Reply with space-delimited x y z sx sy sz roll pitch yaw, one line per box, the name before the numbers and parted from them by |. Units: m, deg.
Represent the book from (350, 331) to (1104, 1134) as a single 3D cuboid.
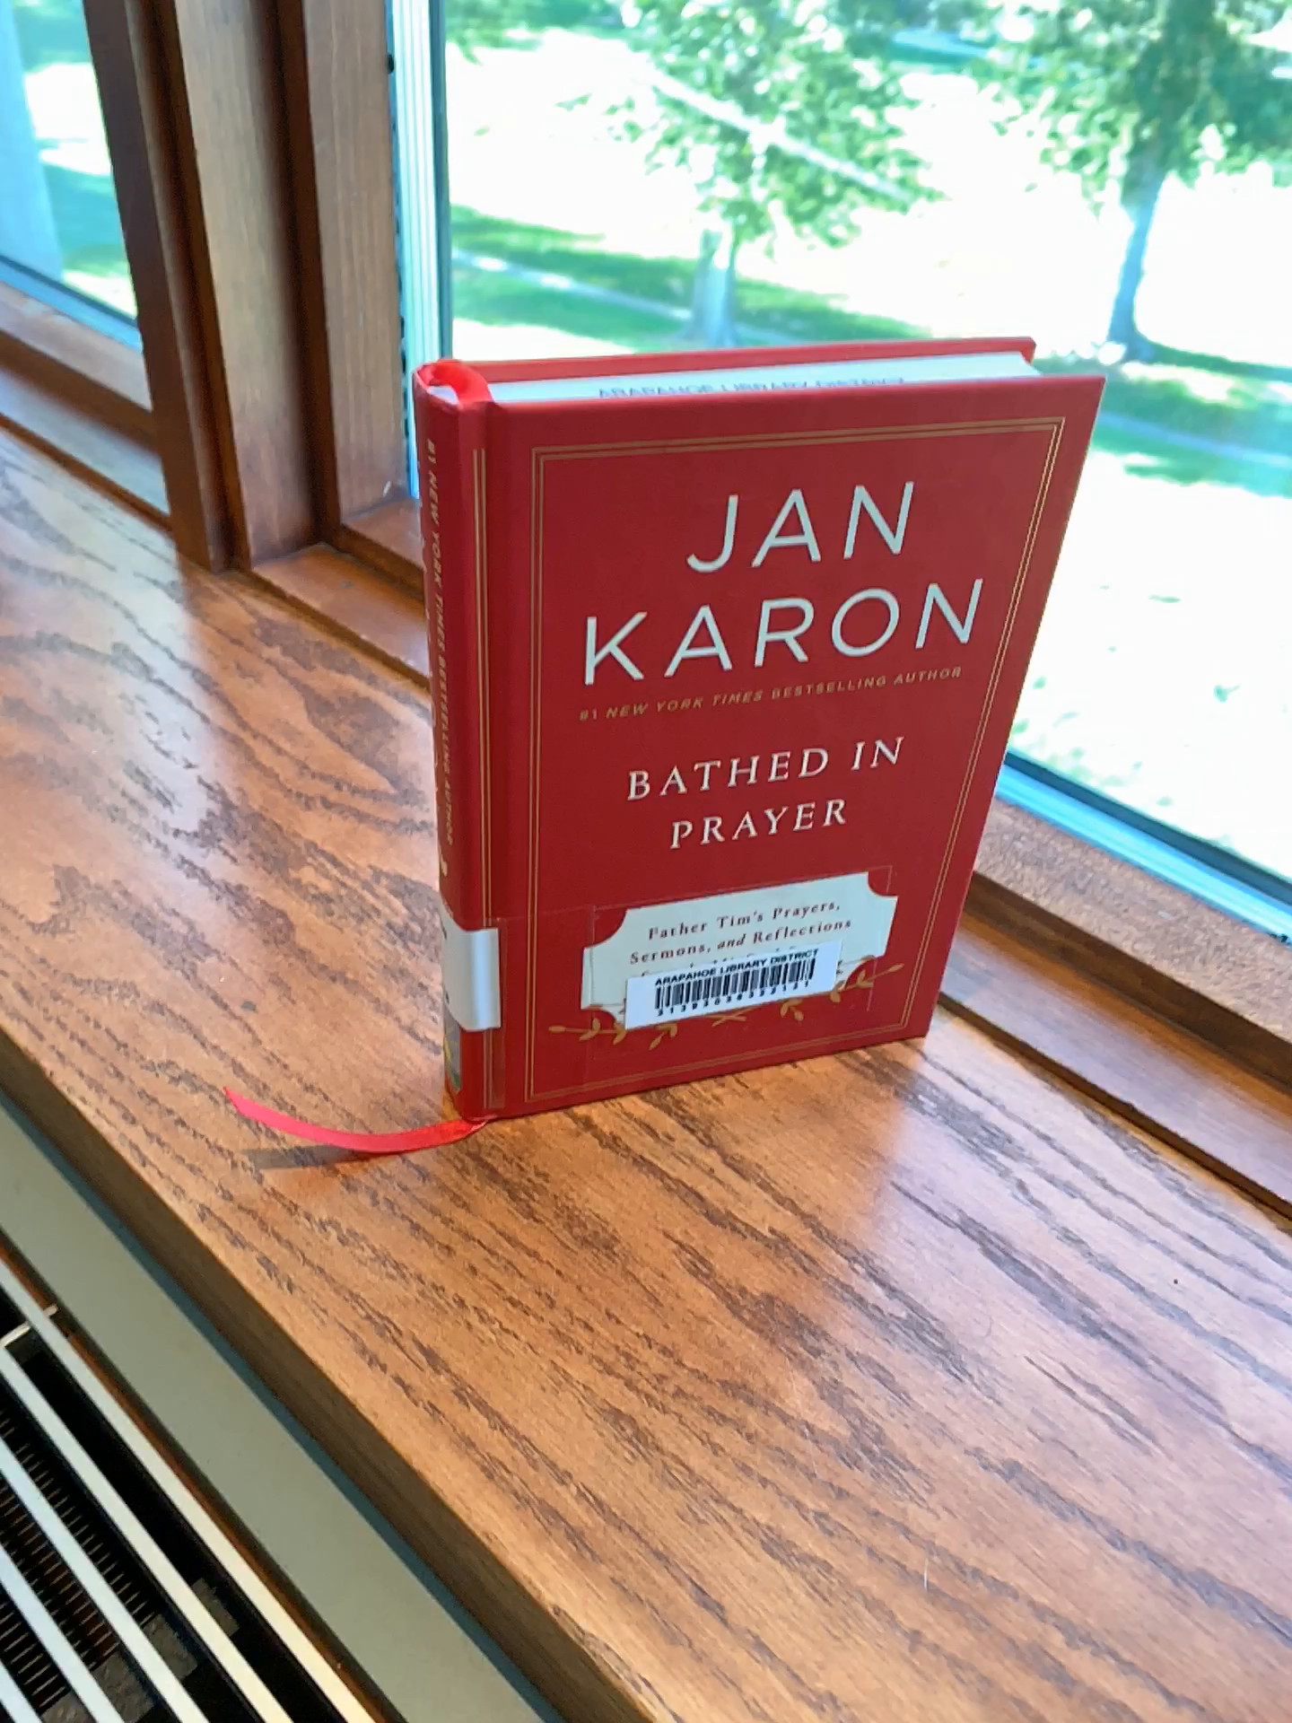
book | 0.013 -0.021 0.291 0.135 0.169 0.028 -8 38 -15
